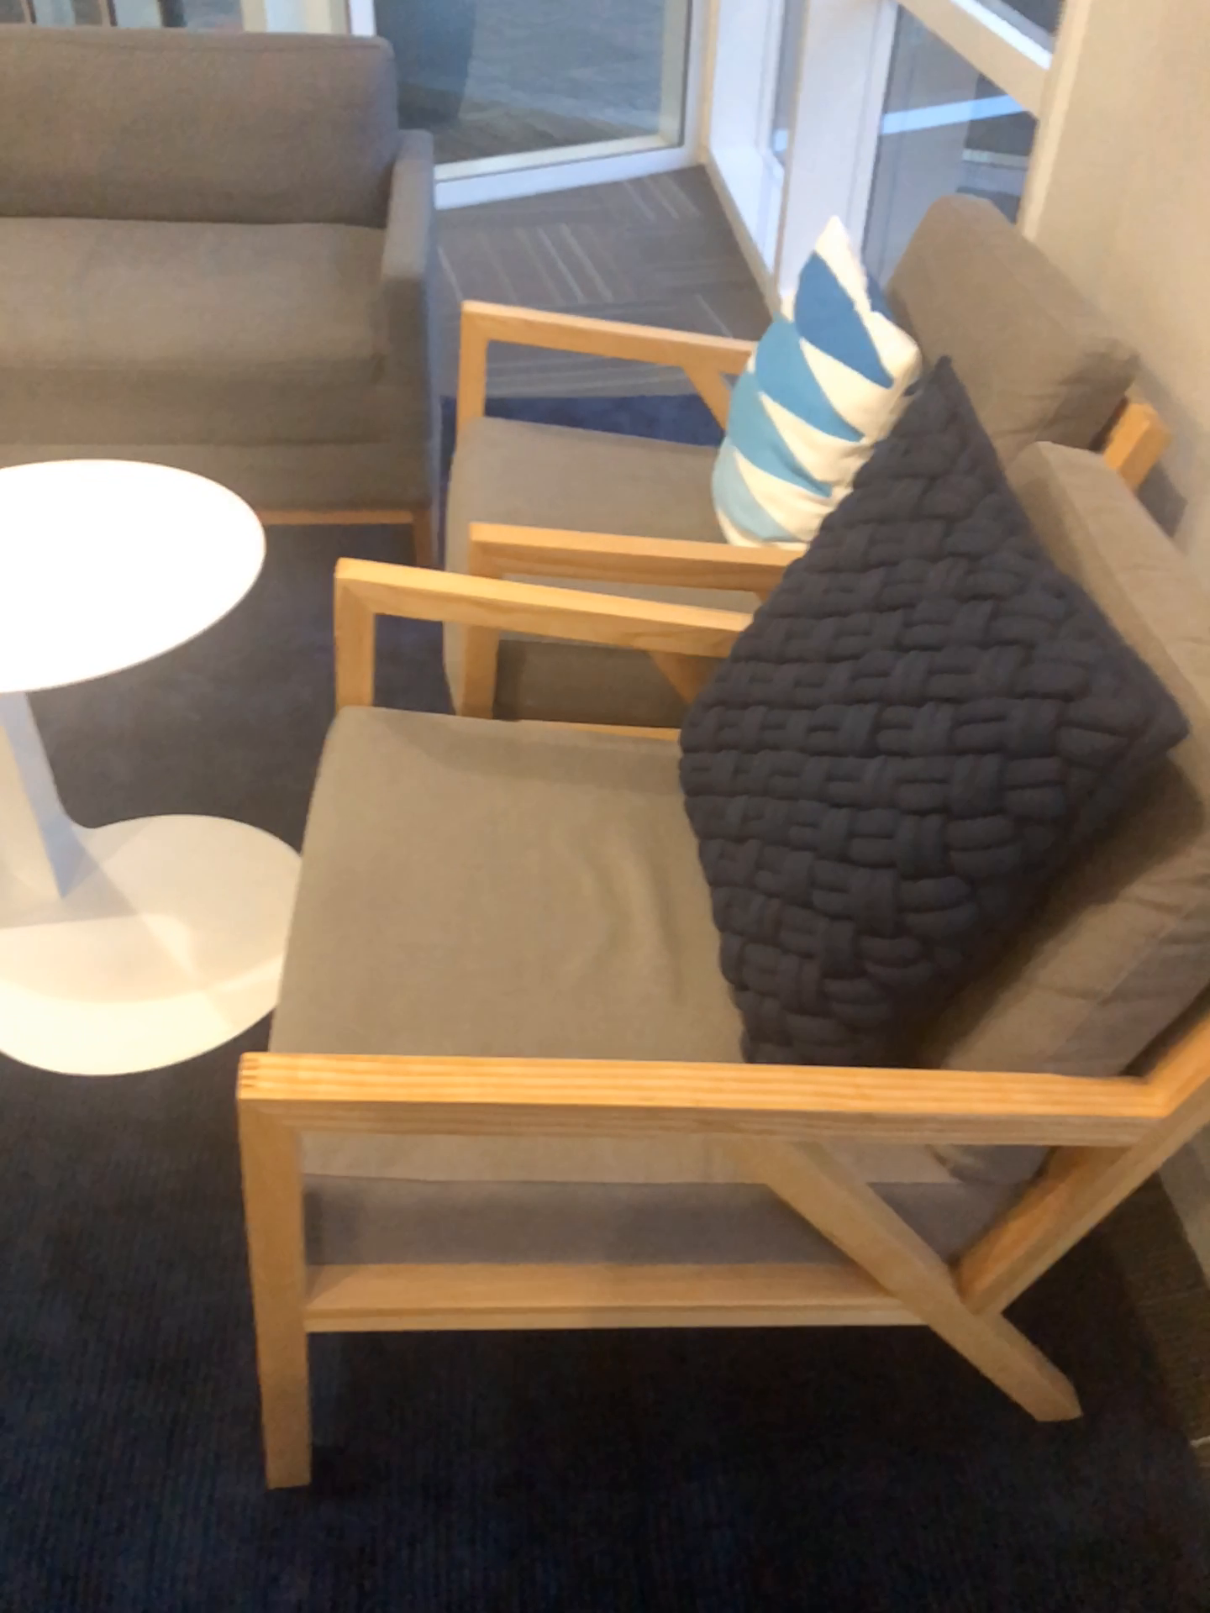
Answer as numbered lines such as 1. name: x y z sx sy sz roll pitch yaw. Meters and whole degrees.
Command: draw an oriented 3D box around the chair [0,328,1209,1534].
1. chair: 0.049 0.090 1.218 0.850 0.773 0.746 -1 41 -3
